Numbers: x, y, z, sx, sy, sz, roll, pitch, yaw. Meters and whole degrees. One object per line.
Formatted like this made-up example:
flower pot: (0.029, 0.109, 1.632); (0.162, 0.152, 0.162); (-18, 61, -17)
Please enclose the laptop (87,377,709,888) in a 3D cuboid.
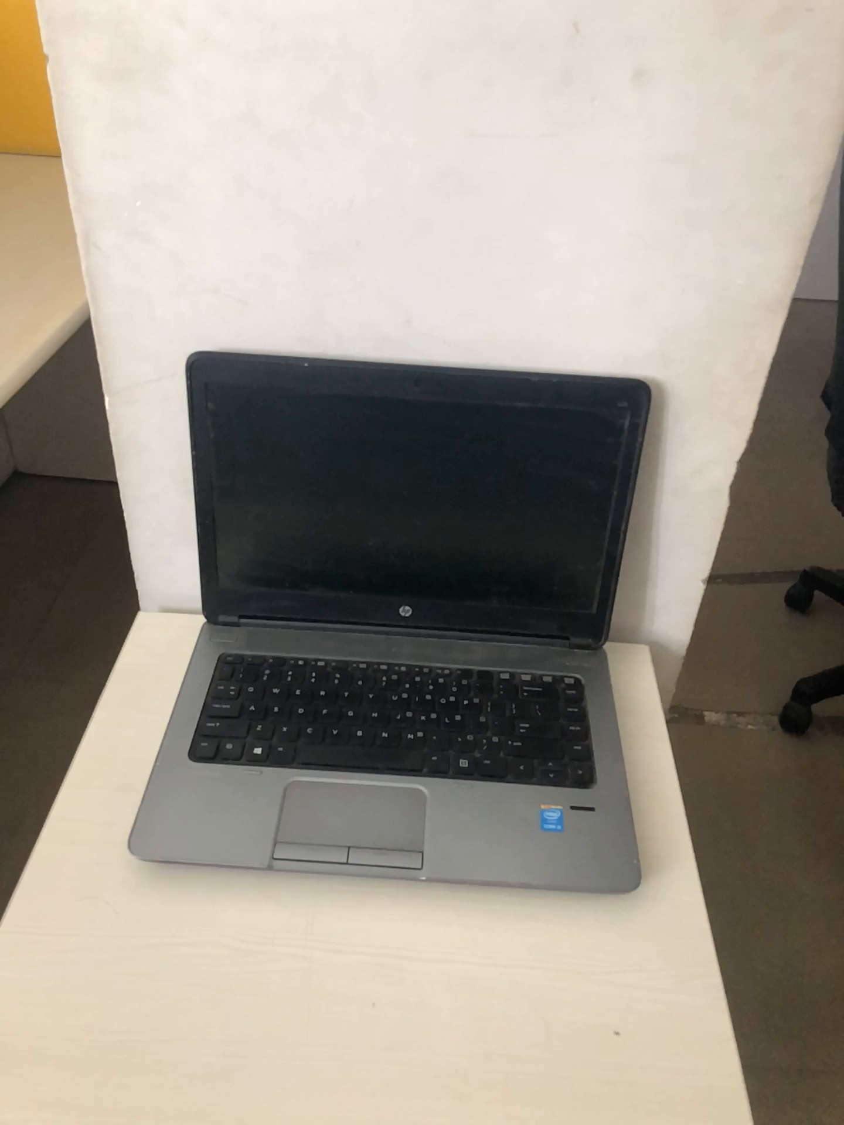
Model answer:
laptop: (-0.007, 0.038, 0.609); (0.304, 0.209, 0.238); (4, 38, 1)
